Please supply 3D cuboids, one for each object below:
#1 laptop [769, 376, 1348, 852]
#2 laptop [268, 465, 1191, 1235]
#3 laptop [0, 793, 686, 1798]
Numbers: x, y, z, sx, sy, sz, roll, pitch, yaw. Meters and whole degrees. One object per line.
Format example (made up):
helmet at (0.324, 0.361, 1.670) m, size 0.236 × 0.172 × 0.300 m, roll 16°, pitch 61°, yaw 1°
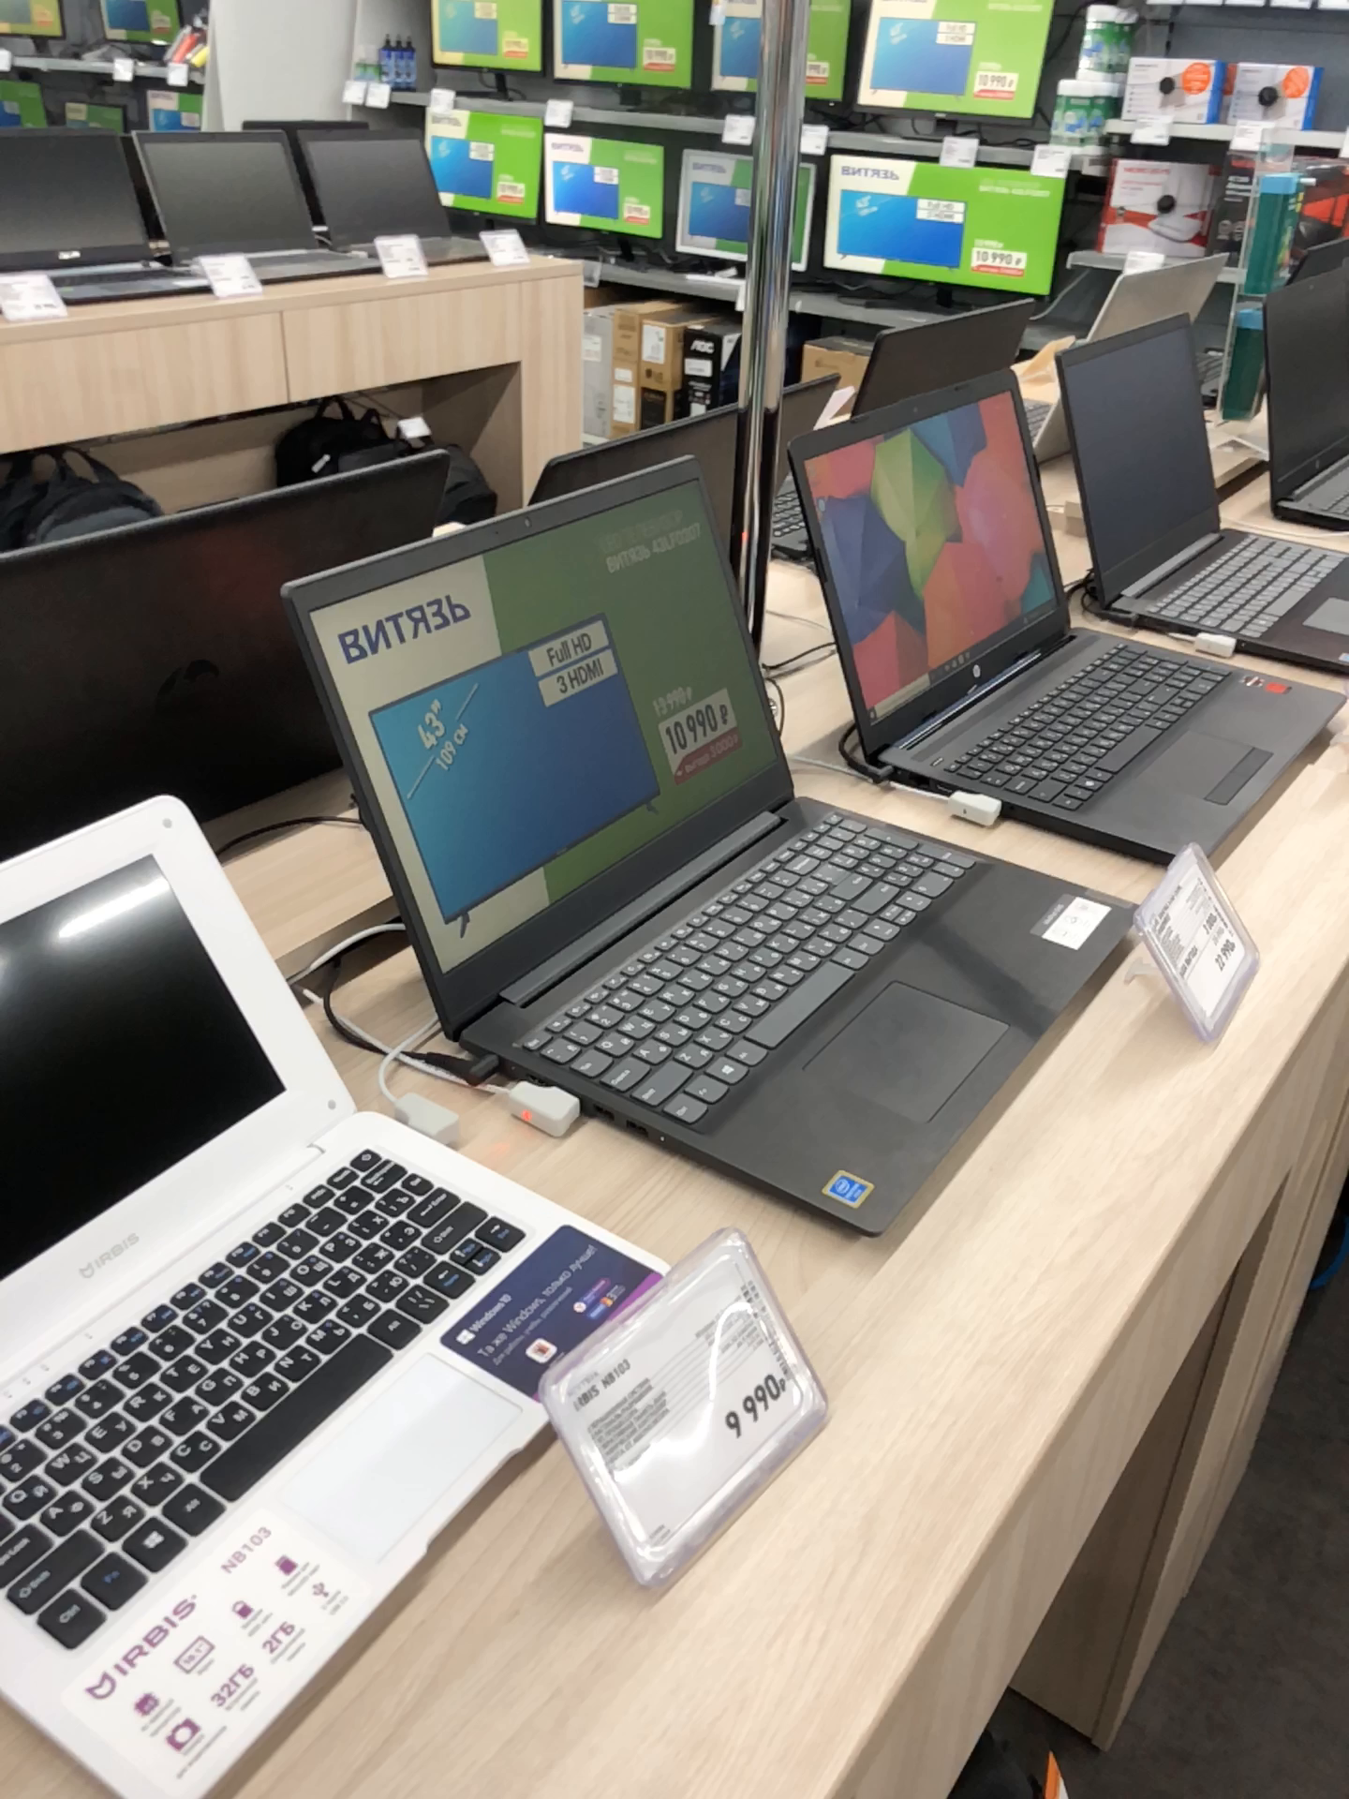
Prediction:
laptop at (0.316, -0.244, 1.129) m, size 0.321 × 0.206 × 0.376 m, roll 21°, pitch 34°, yaw 29°
laptop at (0.041, -0.069, 0.803) m, size 0.340 × 0.212 × 0.356 m, roll 20°, pitch 33°, yaw 27°
laptop at (-0.196, 0.111, 0.544) m, size 0.289 × 0.139 × 0.280 m, roll 20°, pitch 33°, yaw 27°
